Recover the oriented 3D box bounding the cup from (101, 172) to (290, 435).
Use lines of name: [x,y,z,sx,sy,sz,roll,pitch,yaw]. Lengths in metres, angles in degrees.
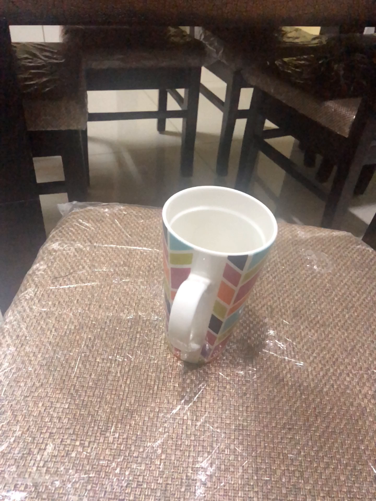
cup: [0.005,0.038,0.336,0.090,0.139,0.130,21,41,14]
